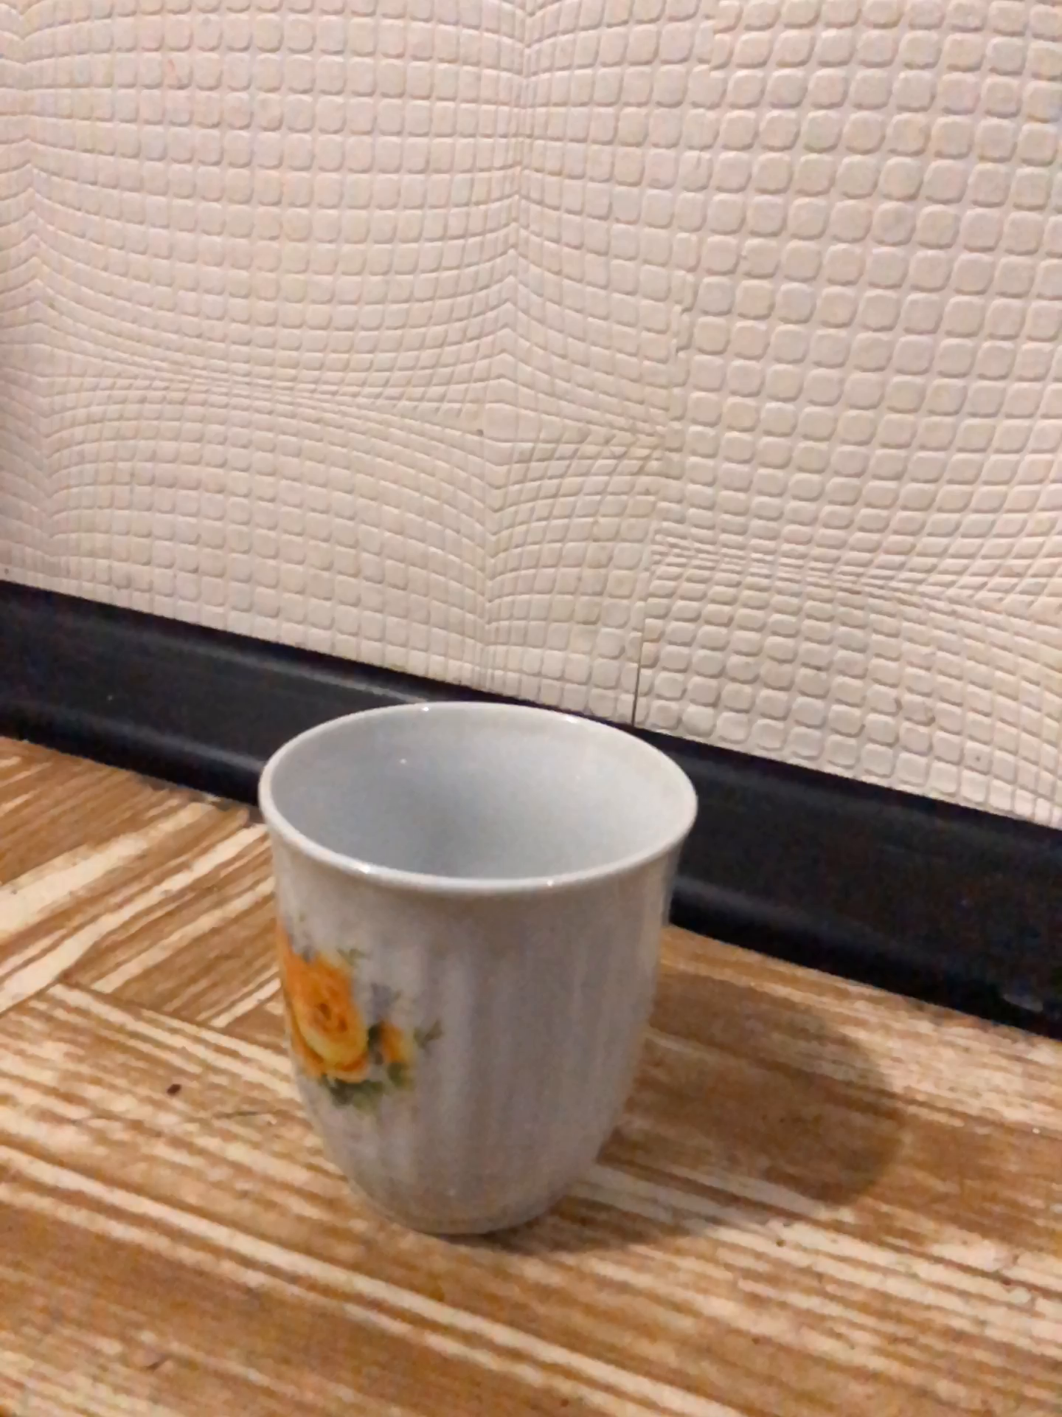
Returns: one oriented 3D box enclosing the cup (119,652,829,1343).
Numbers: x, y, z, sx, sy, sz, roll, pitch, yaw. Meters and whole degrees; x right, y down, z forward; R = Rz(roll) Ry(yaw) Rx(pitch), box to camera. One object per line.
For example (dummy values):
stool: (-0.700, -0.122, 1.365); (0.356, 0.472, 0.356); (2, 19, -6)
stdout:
cup: (-0.015, 0.042, 0.232); (0.094, 0.069, 0.097); (4, 20, -2)
